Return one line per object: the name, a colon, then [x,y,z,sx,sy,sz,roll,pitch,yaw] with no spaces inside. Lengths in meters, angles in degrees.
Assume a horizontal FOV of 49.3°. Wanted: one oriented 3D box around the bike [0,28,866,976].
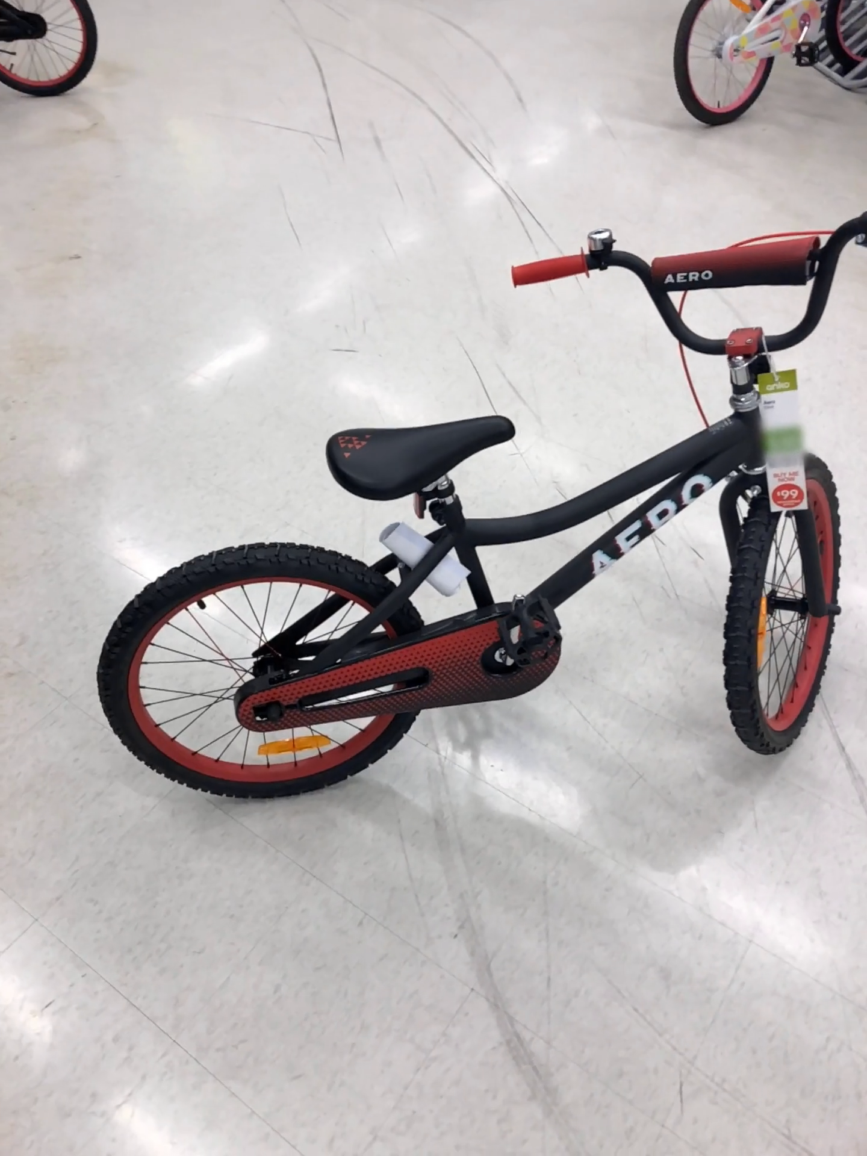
bike: [0.117,-0.129,1.368,1.247,0.924,0.628,-14,47,-13]
